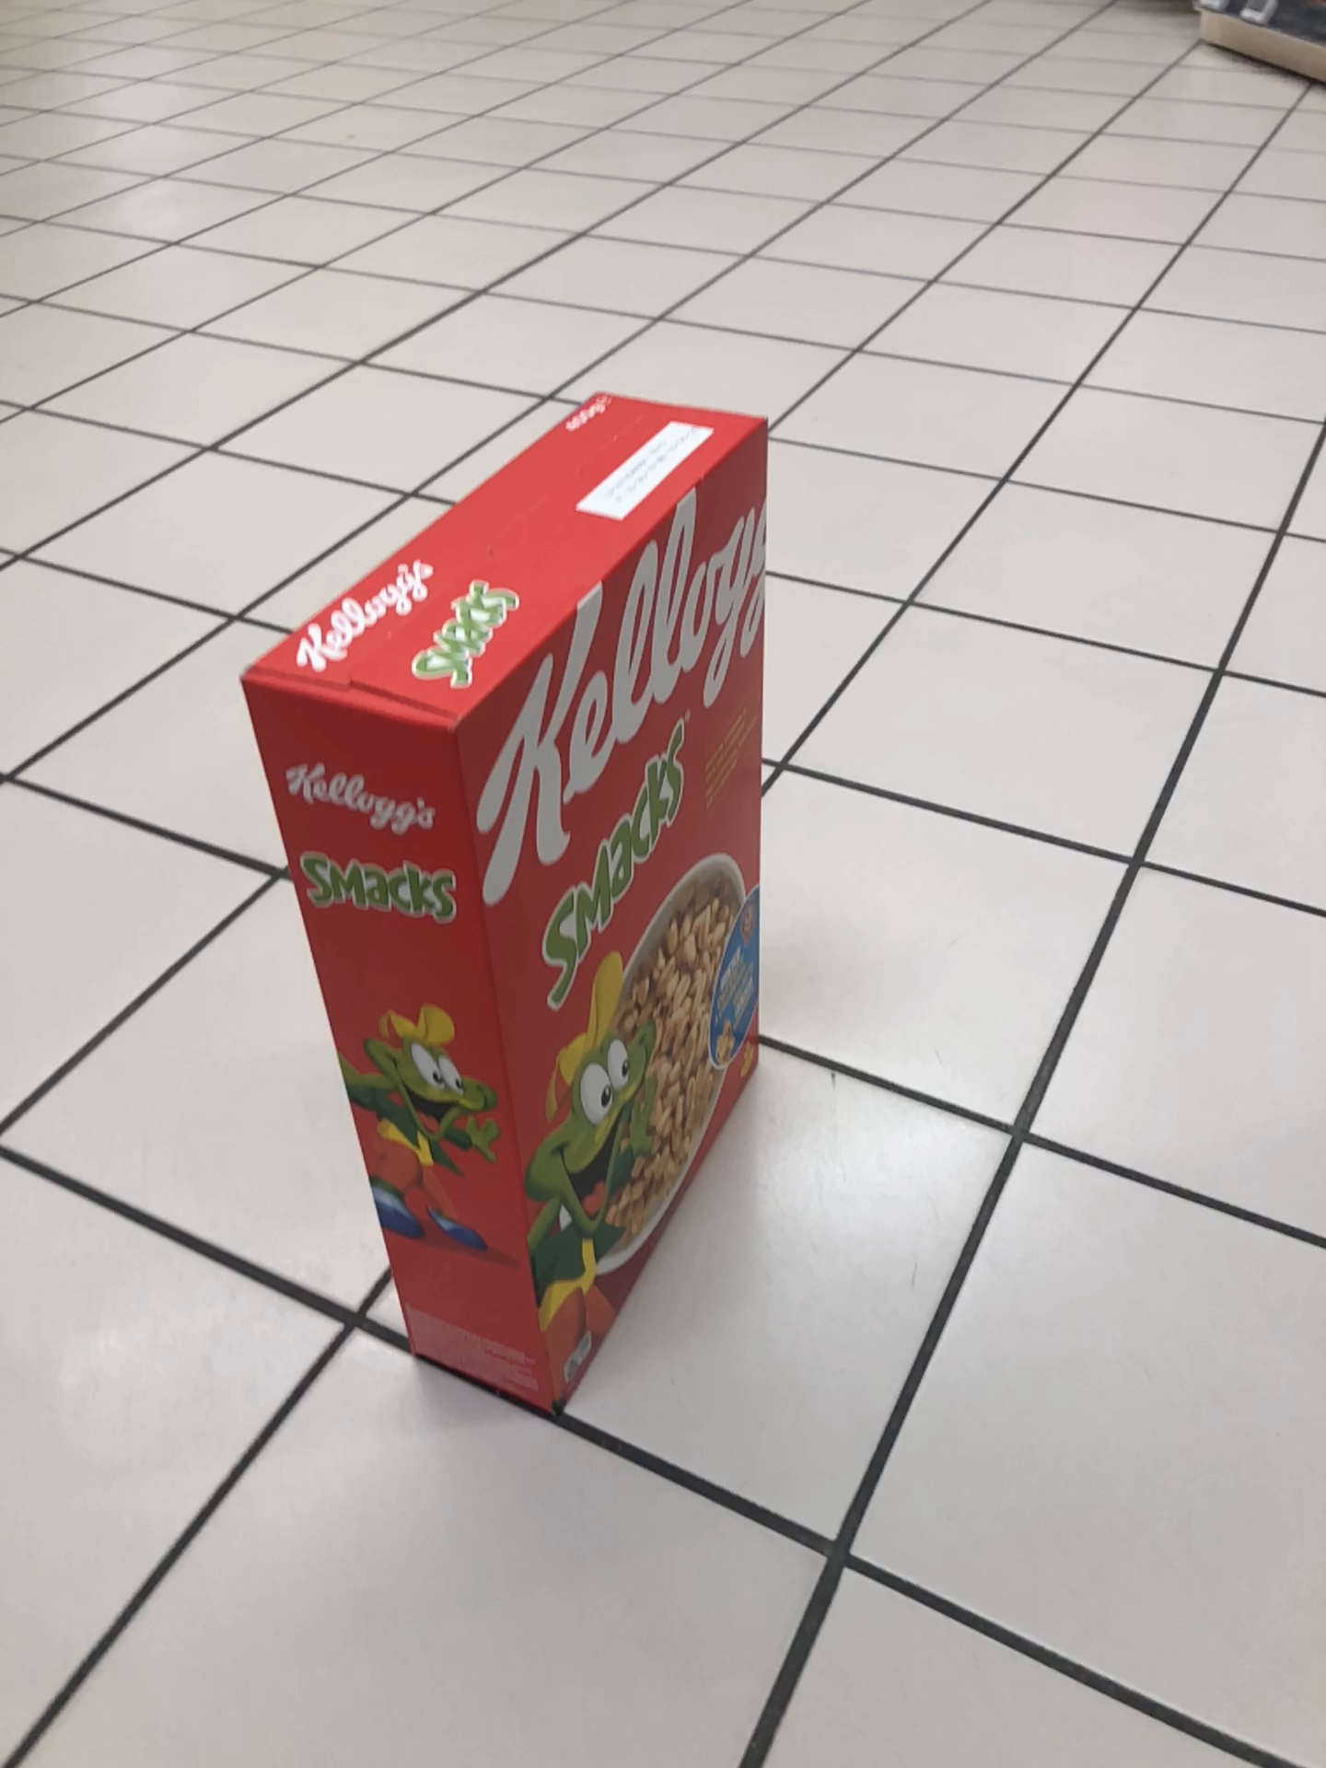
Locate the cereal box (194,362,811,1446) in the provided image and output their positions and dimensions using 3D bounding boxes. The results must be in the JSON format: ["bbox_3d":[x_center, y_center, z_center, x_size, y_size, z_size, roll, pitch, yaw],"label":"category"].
[{"bbox_3d":[-0.030,0.012,0.494,0.080,0.298,0.201,16,43,19],"label":"cereal box"}]
